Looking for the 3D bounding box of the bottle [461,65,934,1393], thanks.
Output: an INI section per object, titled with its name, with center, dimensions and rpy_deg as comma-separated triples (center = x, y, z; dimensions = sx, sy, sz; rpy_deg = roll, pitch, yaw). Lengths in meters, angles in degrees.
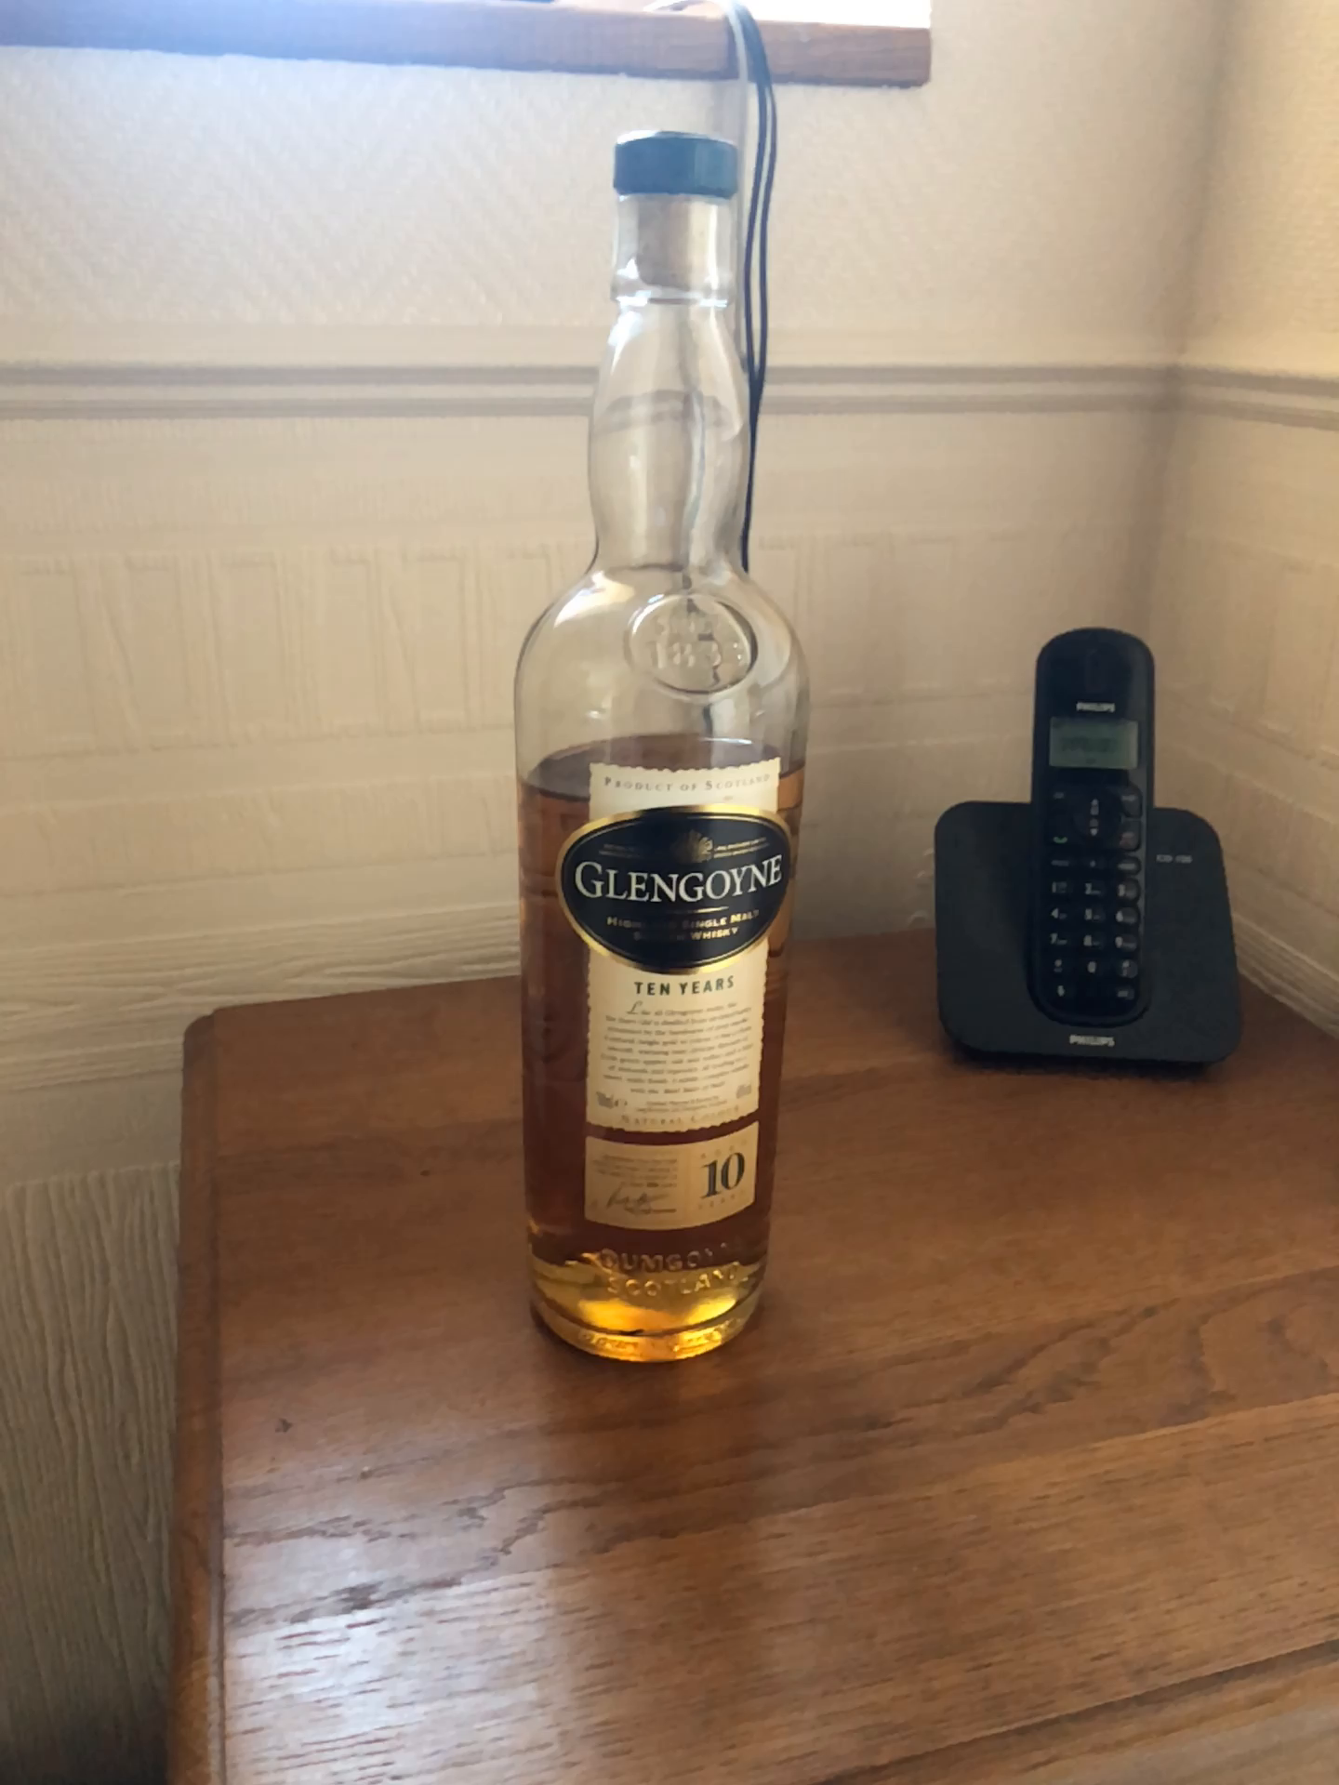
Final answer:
[bottle]
center = 0.000, -0.030, 0.389
dimensions = 0.090, 0.318, 0.080
rpy_deg = -4, 22, -12
